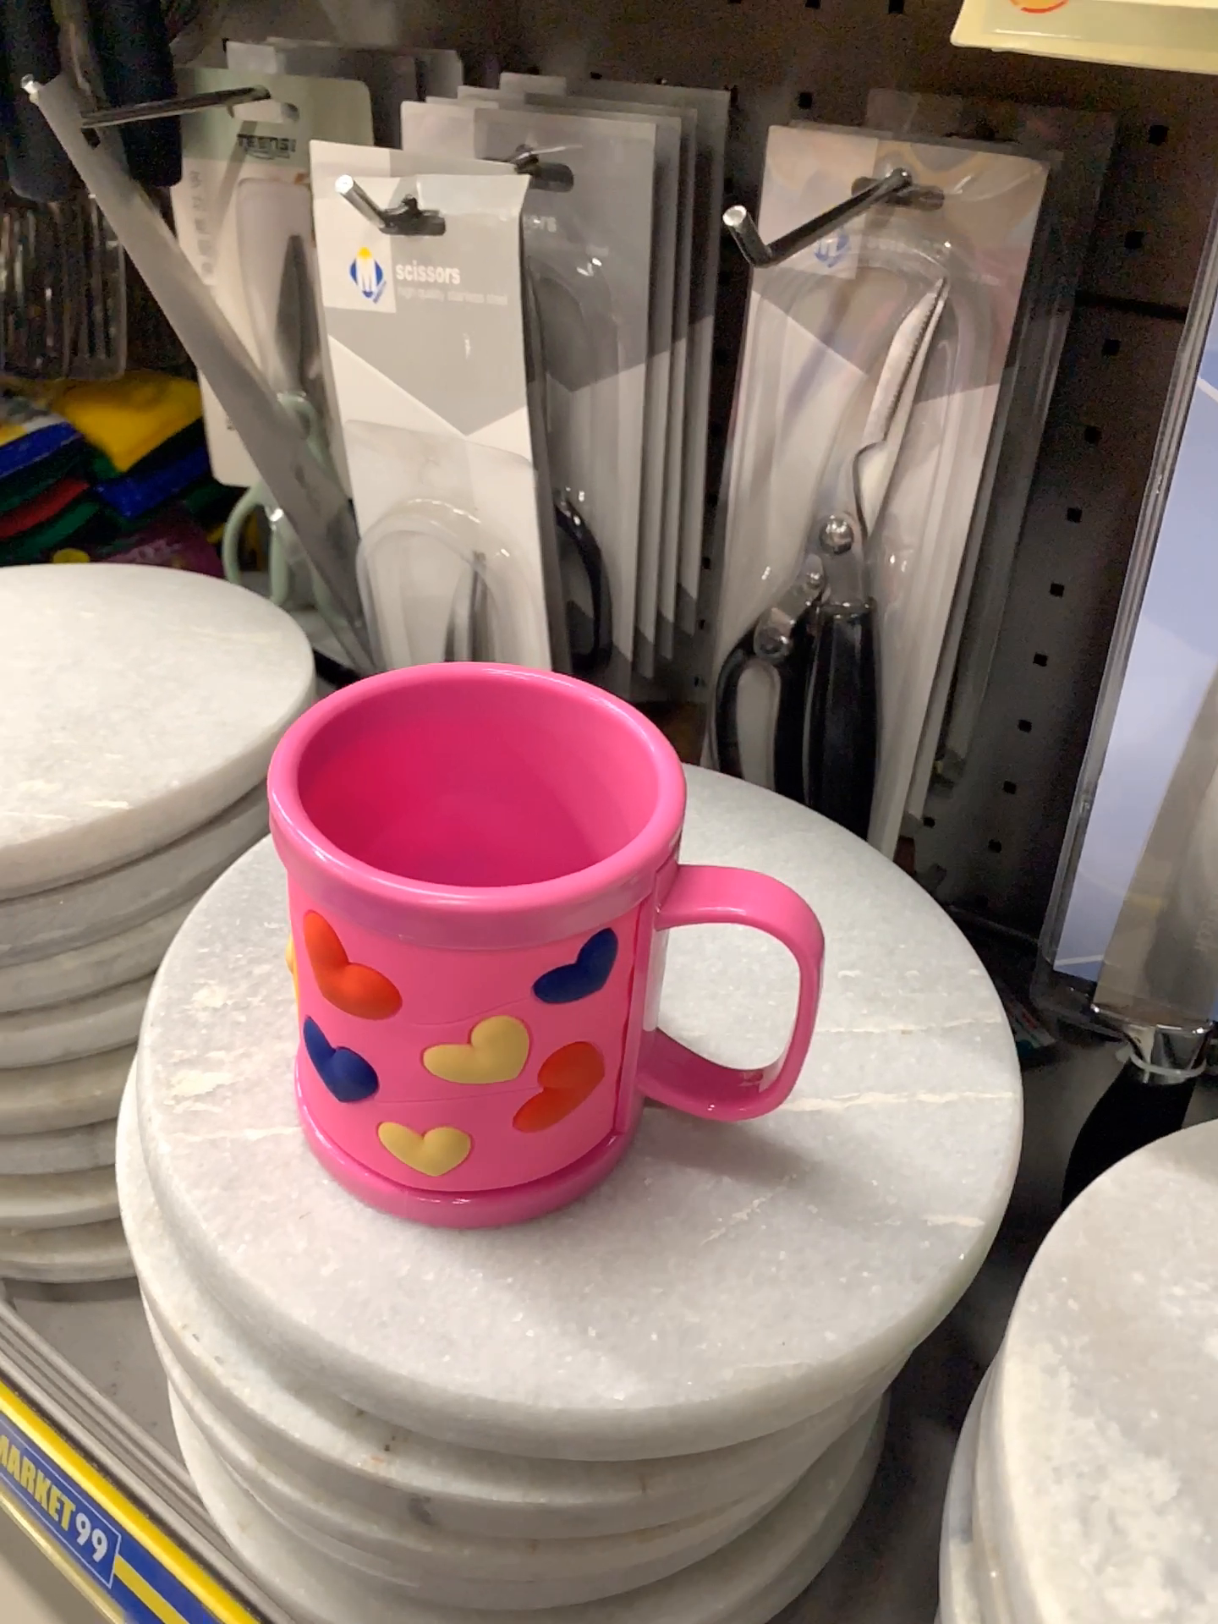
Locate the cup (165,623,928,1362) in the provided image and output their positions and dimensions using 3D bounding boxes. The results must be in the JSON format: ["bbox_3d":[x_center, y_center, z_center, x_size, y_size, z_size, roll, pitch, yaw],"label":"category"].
[{"bbox_3d":[-0.007,0.032,0.259,0.120,0.100,0.080,11,36,14],"label":"cup"}]
